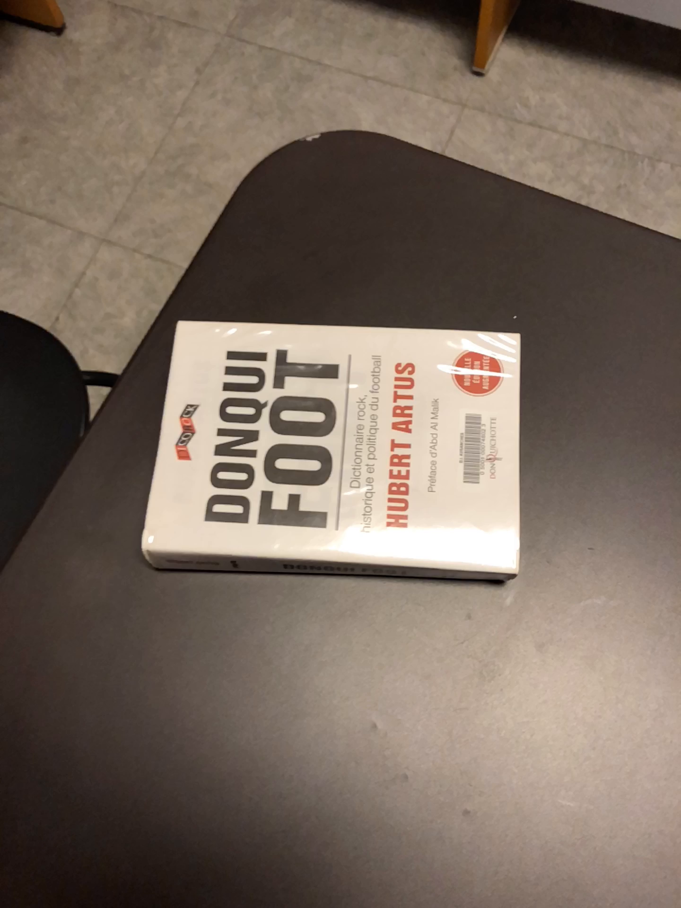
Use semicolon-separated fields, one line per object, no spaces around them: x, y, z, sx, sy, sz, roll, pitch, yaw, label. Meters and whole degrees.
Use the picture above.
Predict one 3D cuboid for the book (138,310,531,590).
0.001;-0.004;0.436;0.207;0.042;0.147;3;72;4;book
